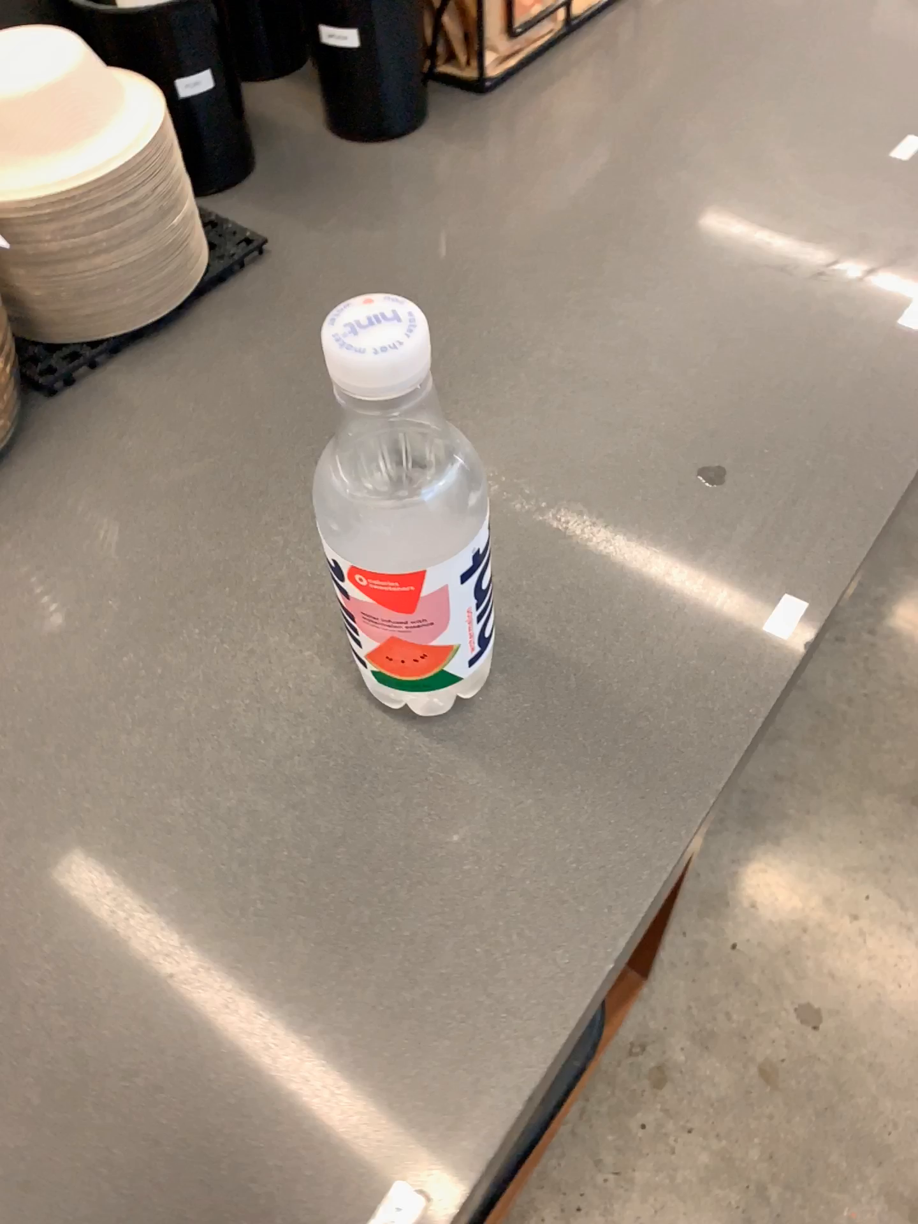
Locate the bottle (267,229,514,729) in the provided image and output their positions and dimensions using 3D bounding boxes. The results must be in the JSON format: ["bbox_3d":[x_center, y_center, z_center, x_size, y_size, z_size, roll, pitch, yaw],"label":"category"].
[{"bbox_3d":[-0.019,-0.037,0.377,0.070,0.199,0.070,-2,54,3],"label":"bottle"}]
